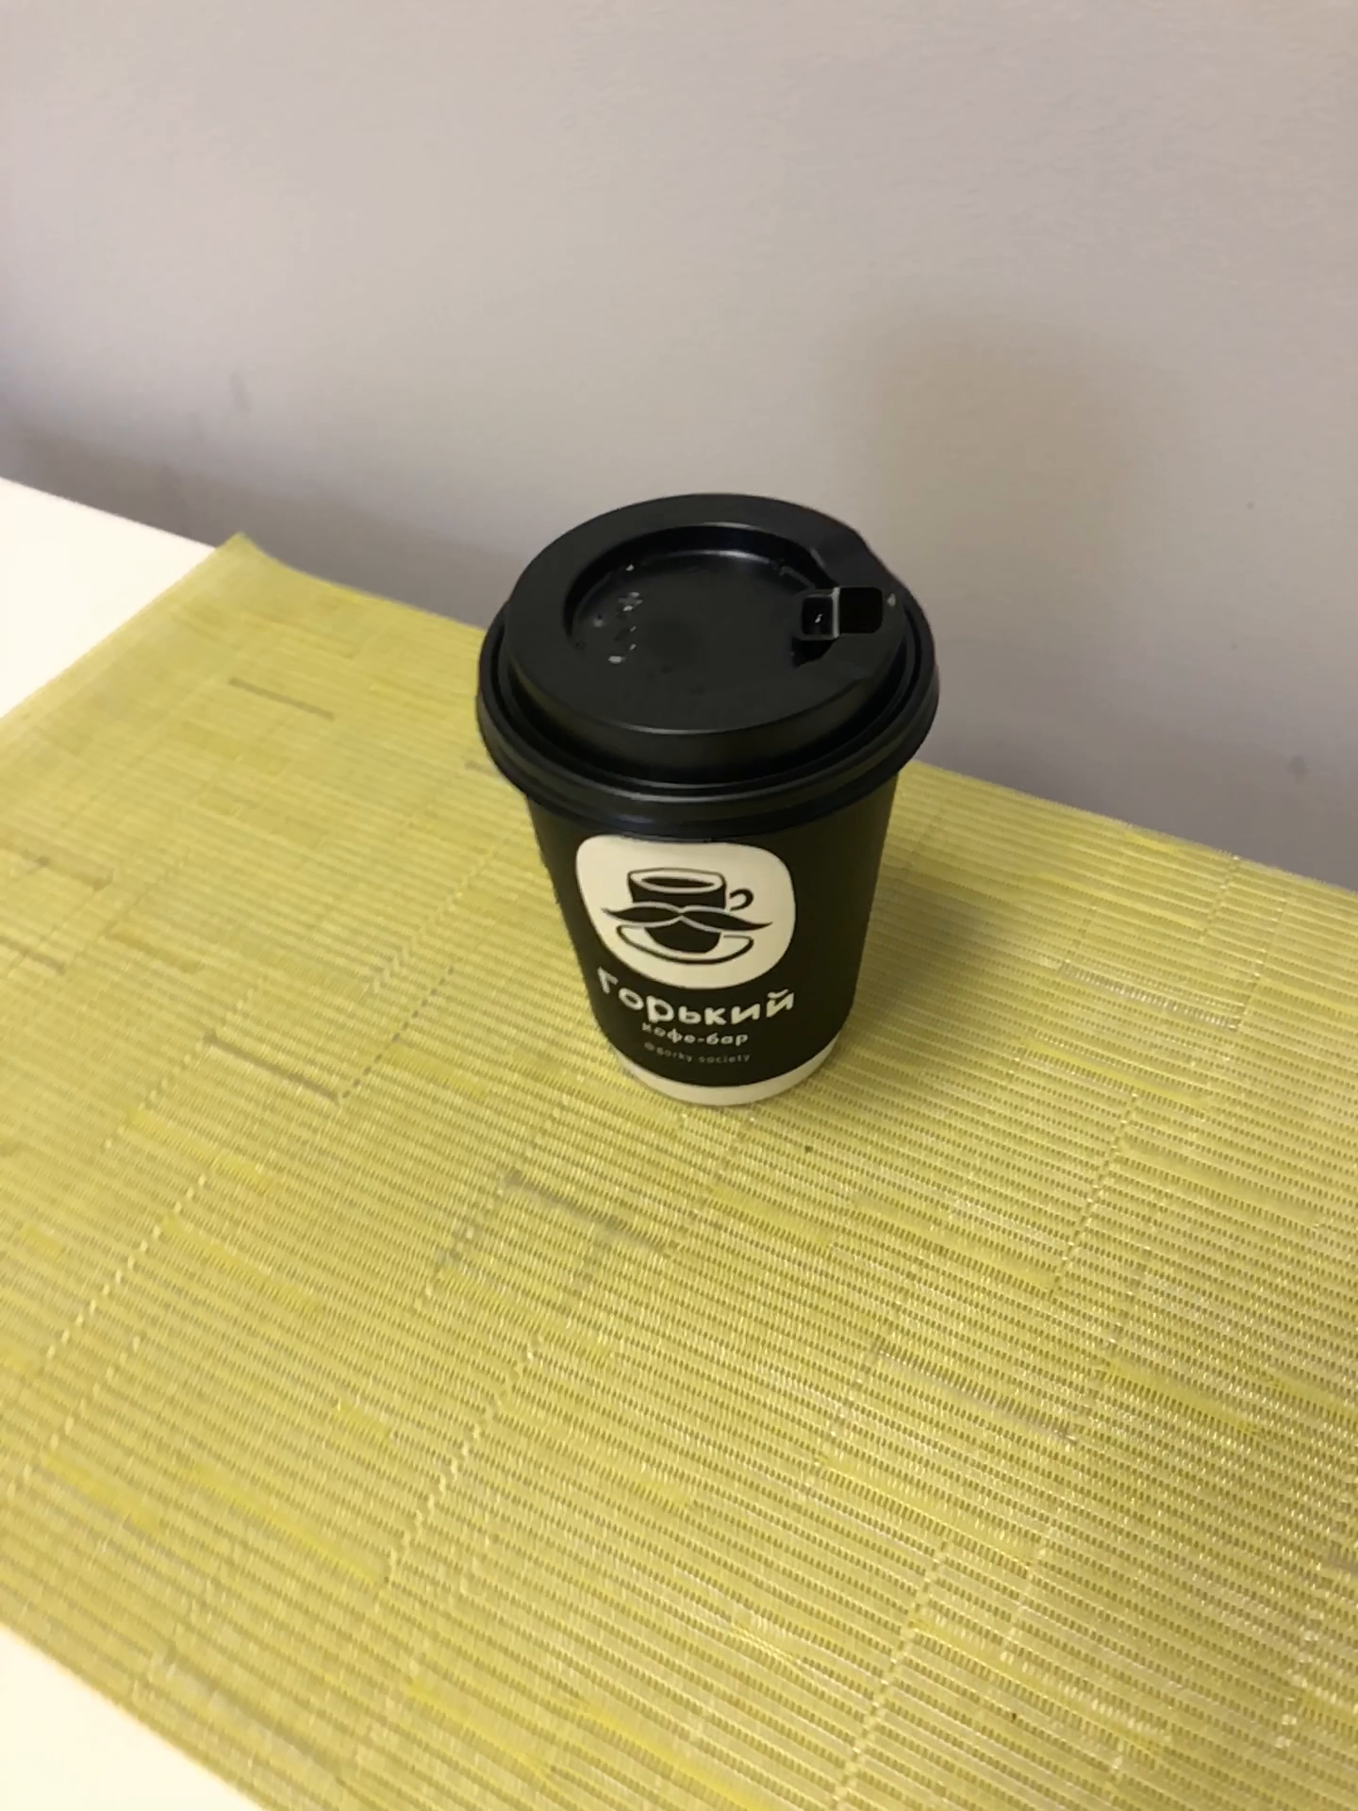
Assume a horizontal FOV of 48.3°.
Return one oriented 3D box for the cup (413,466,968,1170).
[{"bbox_3d":[0.009,-0.019,0.343,0.092,0.119,0.090,-2,46,2],"label":"cup"}]
